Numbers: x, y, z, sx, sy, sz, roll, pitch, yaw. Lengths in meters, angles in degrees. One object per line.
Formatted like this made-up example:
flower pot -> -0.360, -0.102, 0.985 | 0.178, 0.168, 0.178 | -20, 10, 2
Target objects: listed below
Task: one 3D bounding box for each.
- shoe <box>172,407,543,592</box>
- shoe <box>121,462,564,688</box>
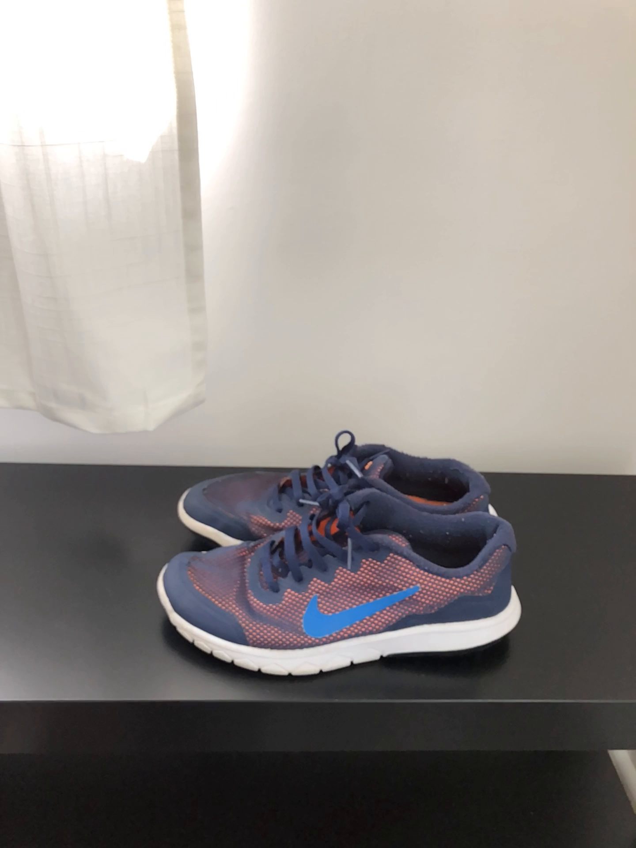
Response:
shoe -> 0.026, 0.057, 0.559 | 0.260, 0.089, 0.100 | 3, 29, -1
shoe -> 0.010, 0.096, 0.484 | 0.260, 0.089, 0.121 | 0, 30, -7
